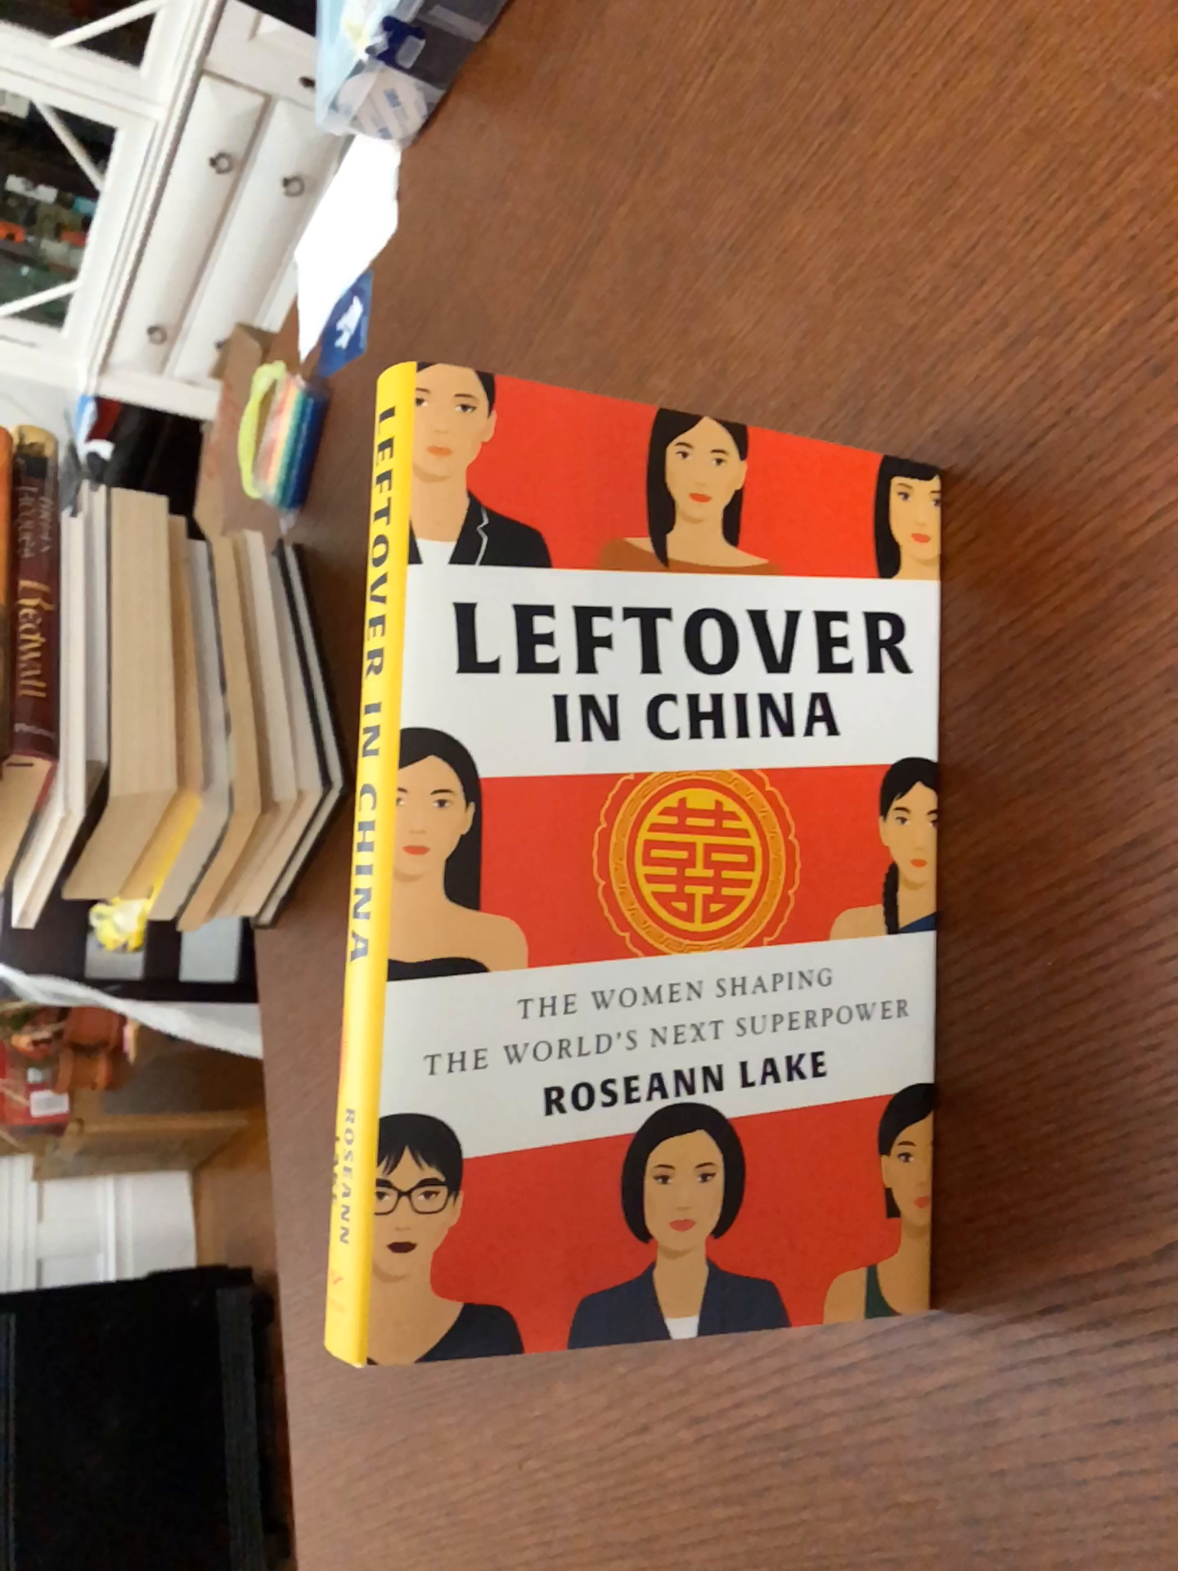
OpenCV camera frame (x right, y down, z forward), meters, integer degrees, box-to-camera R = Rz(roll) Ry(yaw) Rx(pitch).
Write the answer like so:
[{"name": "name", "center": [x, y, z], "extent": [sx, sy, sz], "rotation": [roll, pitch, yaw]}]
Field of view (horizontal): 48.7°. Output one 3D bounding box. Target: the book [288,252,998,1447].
[{"name": "book", "center": [0.024, 0.018, 0.355], "extent": [0.060, 0.179, 0.260], "rotation": [-6, 80, 59]}]
